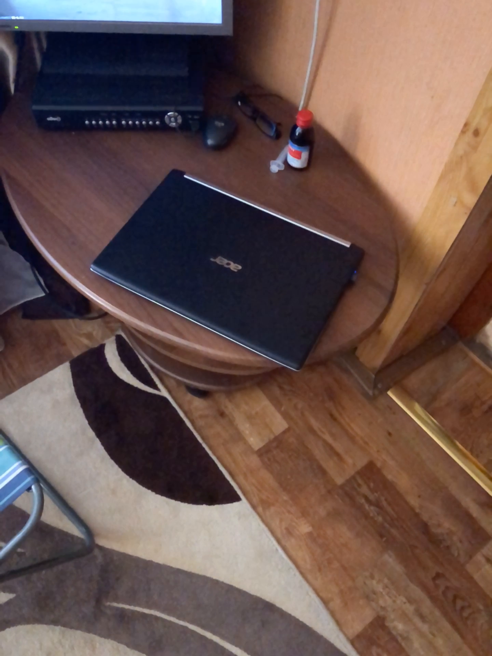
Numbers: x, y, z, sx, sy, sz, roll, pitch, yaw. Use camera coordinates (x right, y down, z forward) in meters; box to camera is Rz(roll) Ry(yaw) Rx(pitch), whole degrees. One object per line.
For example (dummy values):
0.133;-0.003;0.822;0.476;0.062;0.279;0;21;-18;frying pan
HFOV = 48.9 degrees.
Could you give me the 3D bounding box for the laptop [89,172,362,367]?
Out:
-0.029;-0.110;0.871;0.363;0.004;0.240;26;62;12;laptop
